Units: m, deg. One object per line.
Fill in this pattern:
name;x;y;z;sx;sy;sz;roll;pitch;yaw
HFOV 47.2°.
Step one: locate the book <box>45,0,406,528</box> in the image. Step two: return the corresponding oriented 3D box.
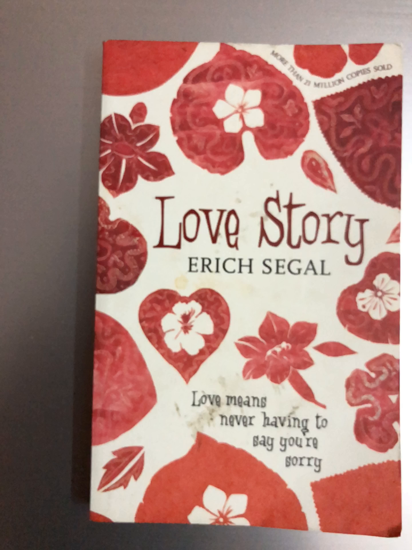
book;0.008;-0.006;0.175;0.120;0.030;0.180;1;88;-1
